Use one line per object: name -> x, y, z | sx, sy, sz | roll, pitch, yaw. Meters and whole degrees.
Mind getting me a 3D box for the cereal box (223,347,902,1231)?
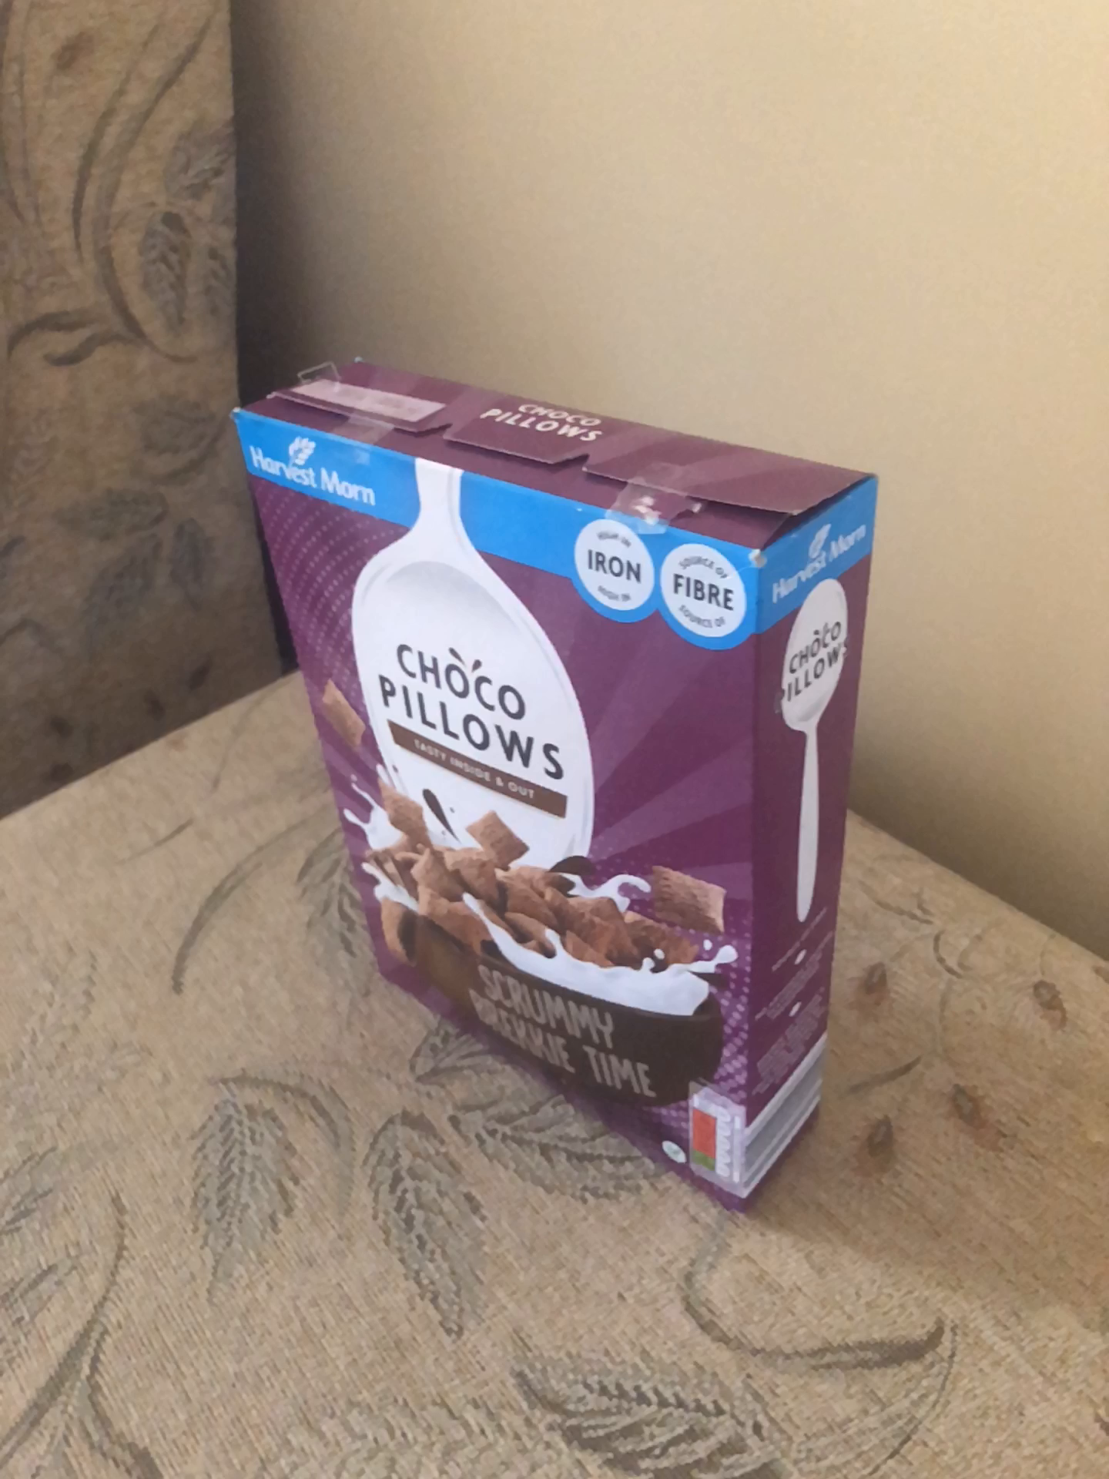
cereal box -> 0.004, 0.023, 0.440 | 0.201, 0.278, 0.060 | 22, 45, 31
